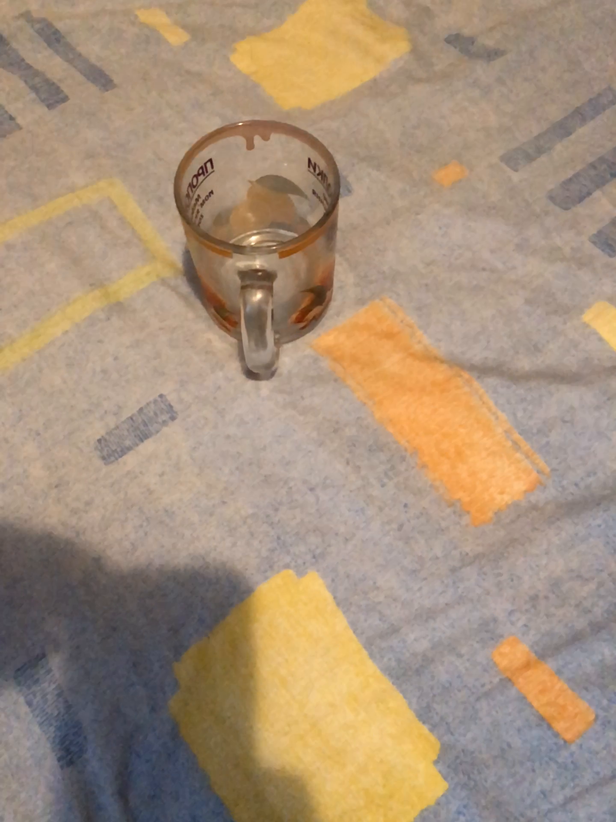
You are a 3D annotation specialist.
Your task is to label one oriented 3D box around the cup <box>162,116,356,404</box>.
[{"bbox_3d":[-0.025,-0.075,0.358,0.084,0.092,0.110,-4,66,-2],"label":"cup"}]
